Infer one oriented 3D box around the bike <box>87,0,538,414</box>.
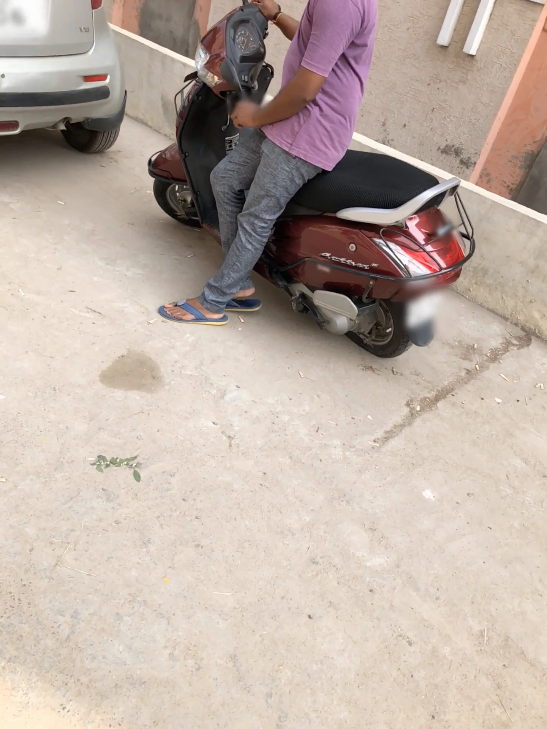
[{"bbox_3d":[-0.012,-0.752,2.442,1.578,1.072,0.633,36,38,29],"label":"bike"}]
